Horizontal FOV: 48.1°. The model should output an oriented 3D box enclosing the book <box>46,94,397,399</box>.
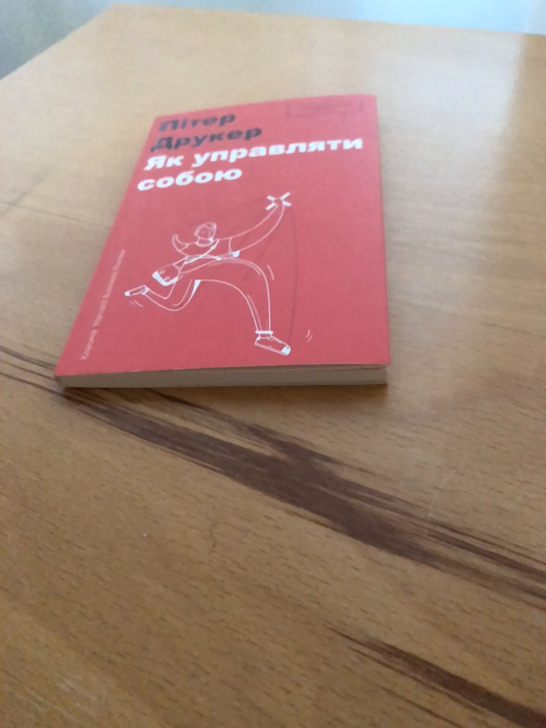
[{"bbox_3d":[-0.010,-0.057,0.246,0.111,0.013,0.165,-2,49,10],"label":"book"}]
